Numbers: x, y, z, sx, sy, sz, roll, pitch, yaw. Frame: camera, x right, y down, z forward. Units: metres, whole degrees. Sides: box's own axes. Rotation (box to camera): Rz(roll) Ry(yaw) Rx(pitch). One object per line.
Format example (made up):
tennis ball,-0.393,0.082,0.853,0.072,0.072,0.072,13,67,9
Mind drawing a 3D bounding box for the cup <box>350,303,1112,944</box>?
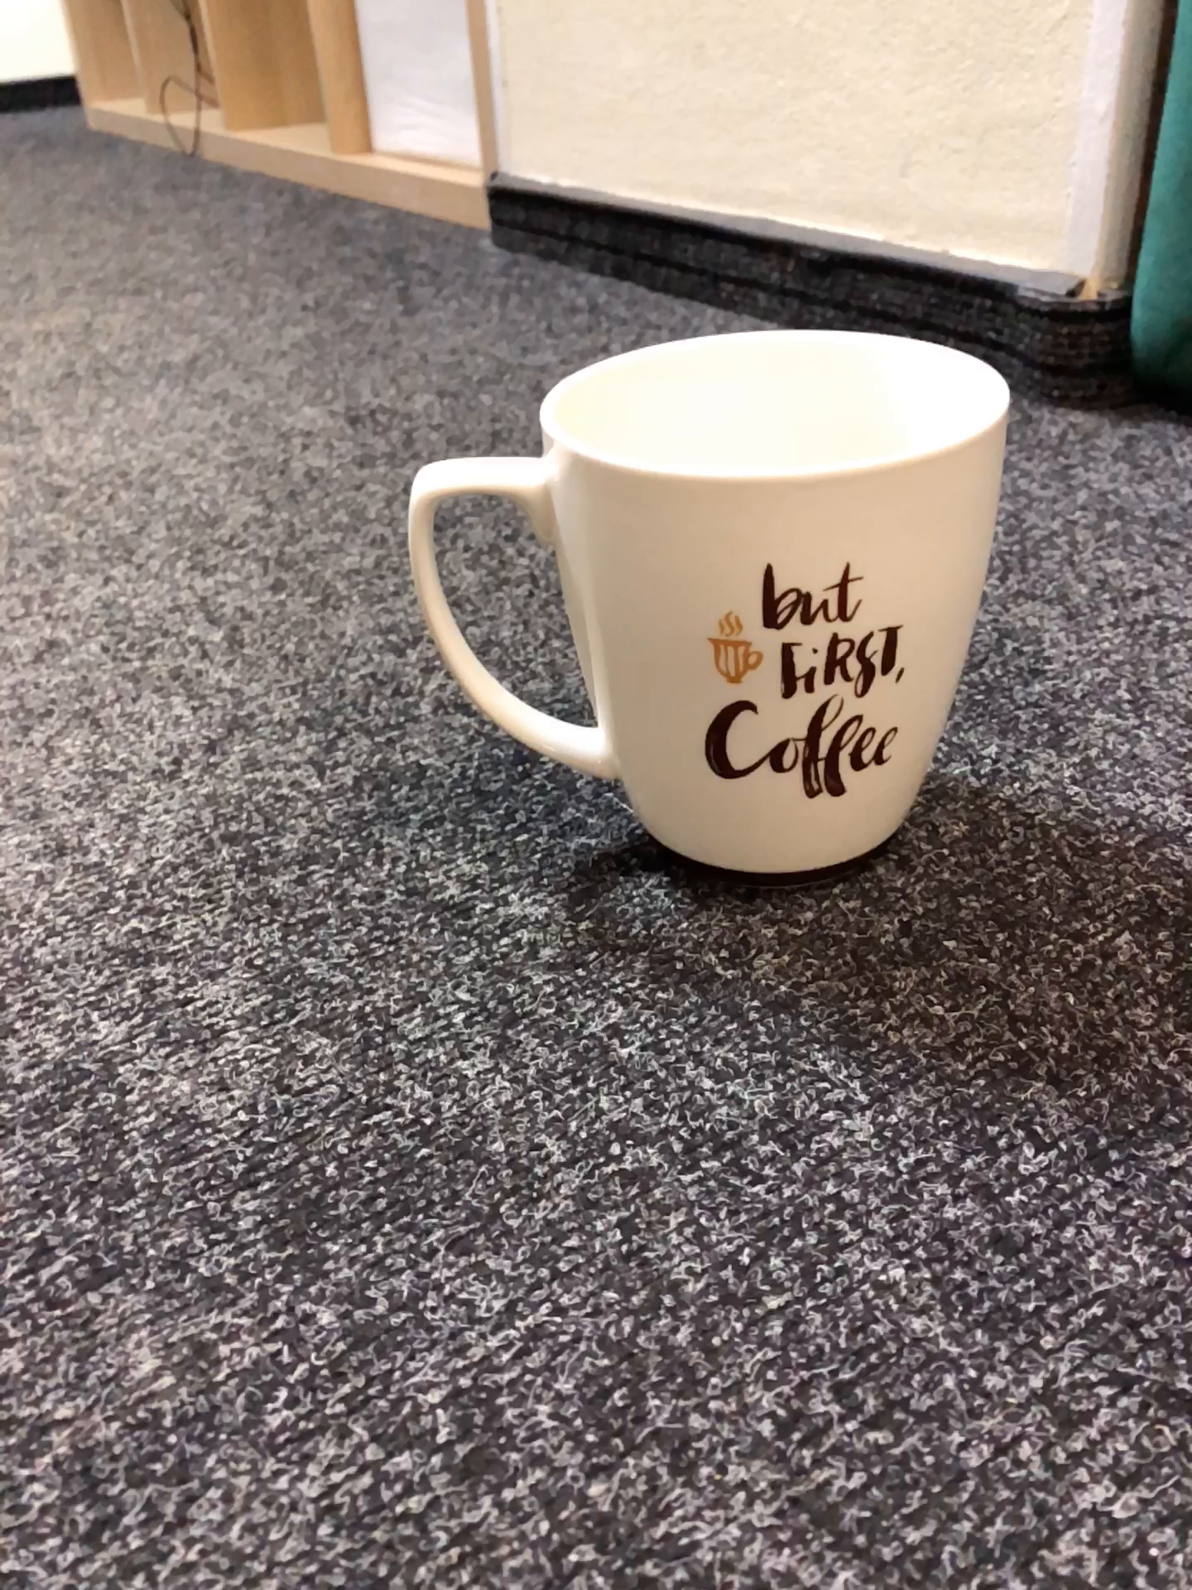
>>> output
cup,0.023,-0.049,0.322,0.145,0.100,0.111,-9,32,-8
